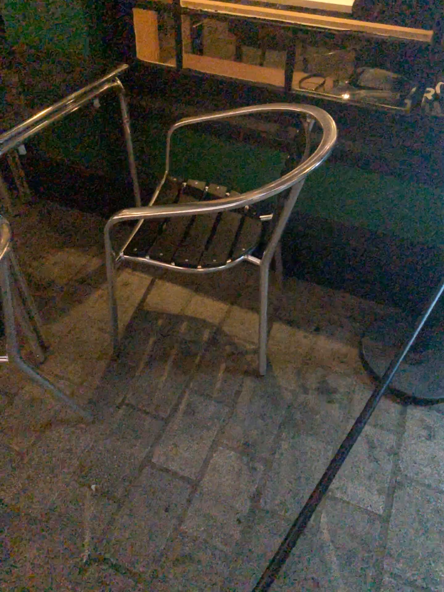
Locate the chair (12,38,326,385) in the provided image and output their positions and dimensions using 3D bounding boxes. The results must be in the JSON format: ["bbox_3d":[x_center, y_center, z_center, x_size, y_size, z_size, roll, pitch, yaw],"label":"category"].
[{"bbox_3d":[-0.080,-0.271,1.454,0.650,0.782,0.666,9,46,8],"label":"chair"}]
